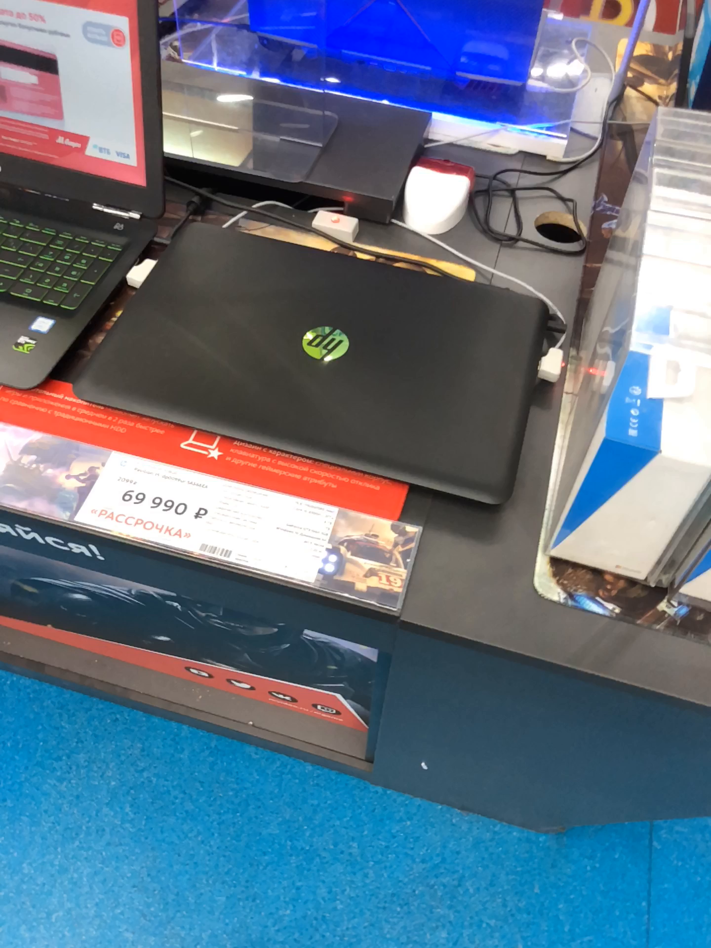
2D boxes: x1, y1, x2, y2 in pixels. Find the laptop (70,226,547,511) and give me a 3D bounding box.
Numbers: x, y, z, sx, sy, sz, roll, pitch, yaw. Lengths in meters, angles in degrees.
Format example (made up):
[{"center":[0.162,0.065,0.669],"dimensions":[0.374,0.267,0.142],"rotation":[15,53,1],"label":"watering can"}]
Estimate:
[{"center":[-0.029,-0.112,0.698],"dimensions":[0.372,0.006,0.240],"rotation":[14,54,8],"label":"laptop"}]
